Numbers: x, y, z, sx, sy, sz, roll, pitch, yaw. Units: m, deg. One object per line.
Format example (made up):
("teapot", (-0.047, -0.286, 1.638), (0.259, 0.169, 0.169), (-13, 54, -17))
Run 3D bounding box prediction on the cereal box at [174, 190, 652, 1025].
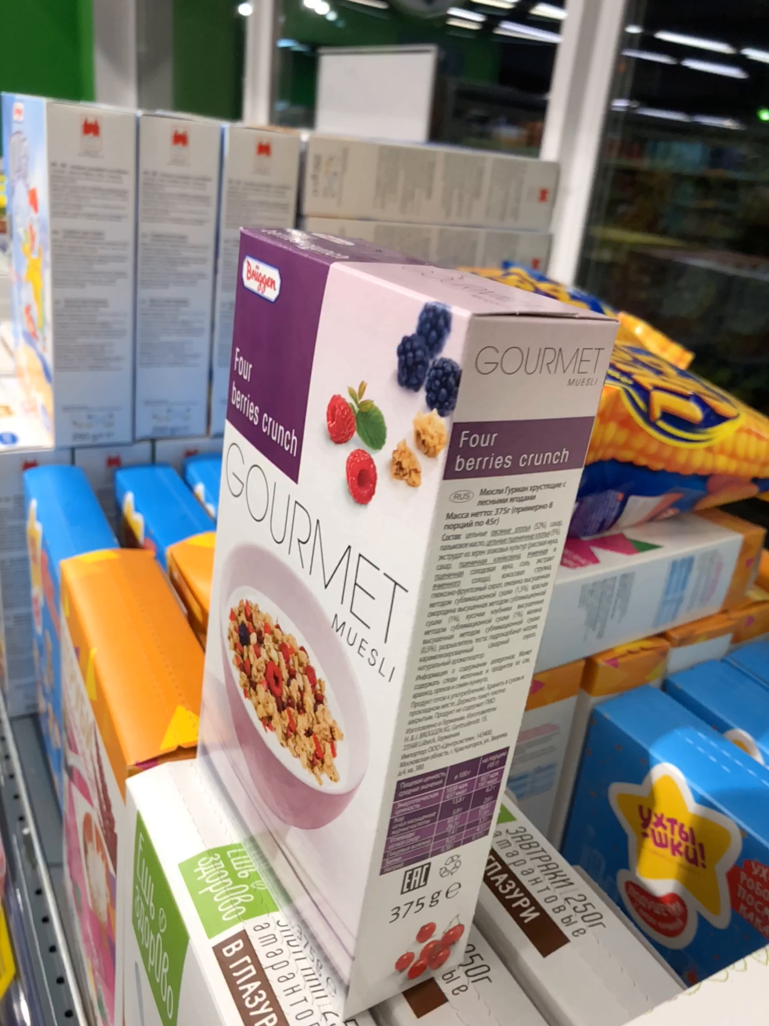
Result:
("cereal box", (-0.013, 0.022, 0.276), (0.050, 0.219, 0.140), (-5, 25, -33))
